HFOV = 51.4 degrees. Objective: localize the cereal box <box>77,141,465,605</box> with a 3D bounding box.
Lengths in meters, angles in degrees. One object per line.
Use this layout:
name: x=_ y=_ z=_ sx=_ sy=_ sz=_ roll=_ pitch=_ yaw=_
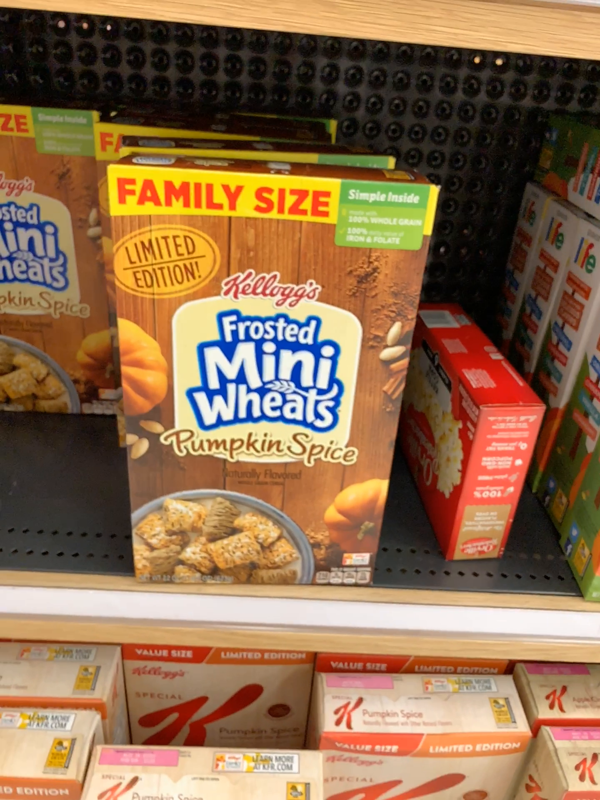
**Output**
cereal box: x=-0.025 y=0.004 z=0.414 sx=0.200 sy=0.308 sz=0.050 roll=2 pitch=27 yaw=-6
